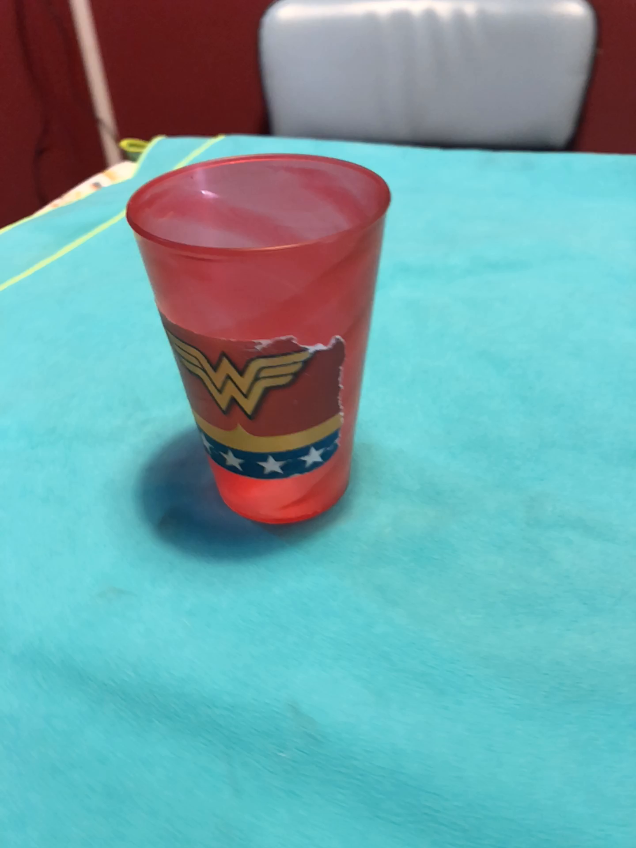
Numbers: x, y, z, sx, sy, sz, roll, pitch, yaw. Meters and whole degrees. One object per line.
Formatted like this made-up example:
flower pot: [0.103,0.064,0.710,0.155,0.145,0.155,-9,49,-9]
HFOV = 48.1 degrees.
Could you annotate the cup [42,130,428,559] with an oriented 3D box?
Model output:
cup: [-0.018,-0.032,0.254,0.090,0.109,0.091,-2,38,2]
